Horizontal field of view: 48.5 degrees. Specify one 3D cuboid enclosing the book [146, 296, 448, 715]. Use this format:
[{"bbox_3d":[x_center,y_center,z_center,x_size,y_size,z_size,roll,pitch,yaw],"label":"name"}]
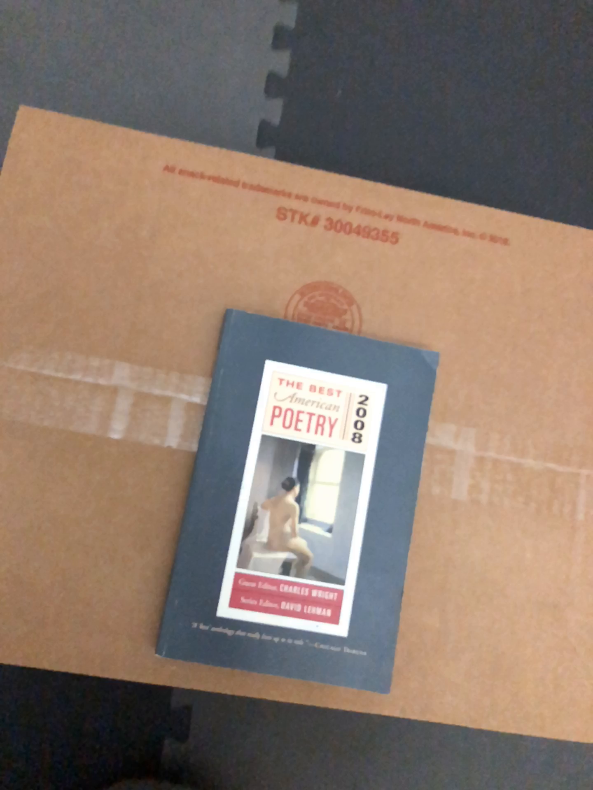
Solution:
[{"bbox_3d":[0.005,0.065,0.408,0.150,0.020,0.230,10,81,-5],"label":"book"}]
